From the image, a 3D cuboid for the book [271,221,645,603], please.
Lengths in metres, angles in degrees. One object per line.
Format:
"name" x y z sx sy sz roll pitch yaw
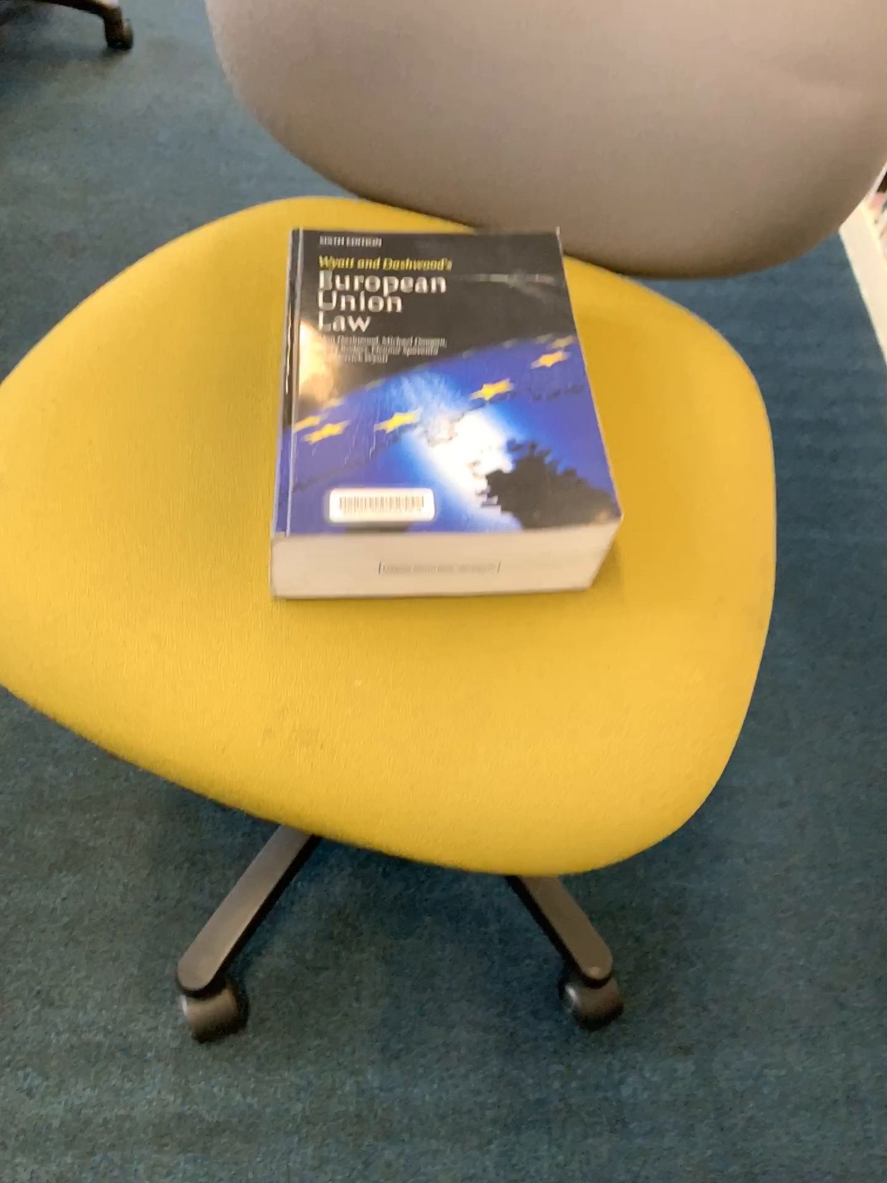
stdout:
"book" -0.002 -0.115 0.534 0.180 0.059 0.252 0 54 -6
